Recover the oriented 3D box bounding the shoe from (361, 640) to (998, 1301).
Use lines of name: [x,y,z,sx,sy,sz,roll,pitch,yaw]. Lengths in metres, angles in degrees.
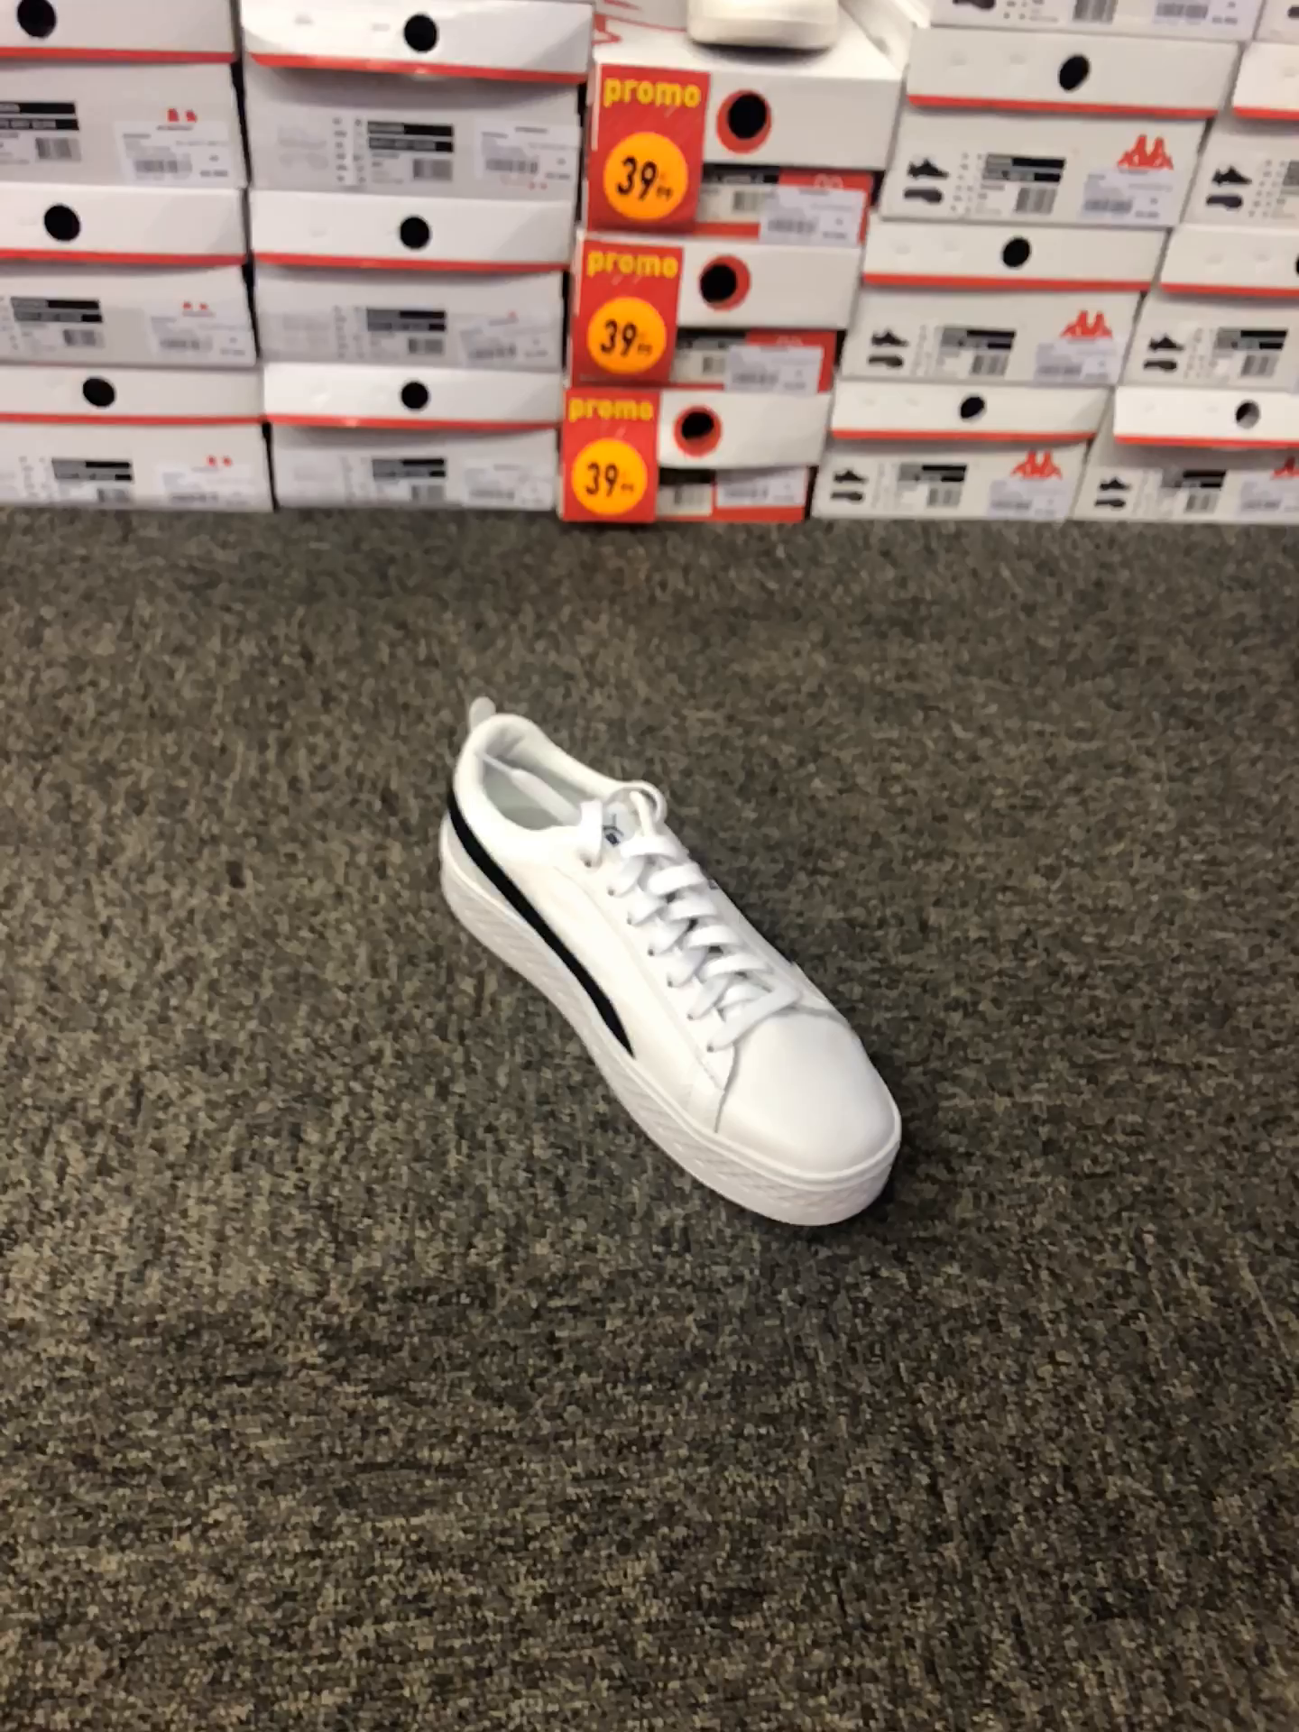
shoe: [-0.003,0.028,0.627,0.111,0.089,0.290,-24,52,-30]
